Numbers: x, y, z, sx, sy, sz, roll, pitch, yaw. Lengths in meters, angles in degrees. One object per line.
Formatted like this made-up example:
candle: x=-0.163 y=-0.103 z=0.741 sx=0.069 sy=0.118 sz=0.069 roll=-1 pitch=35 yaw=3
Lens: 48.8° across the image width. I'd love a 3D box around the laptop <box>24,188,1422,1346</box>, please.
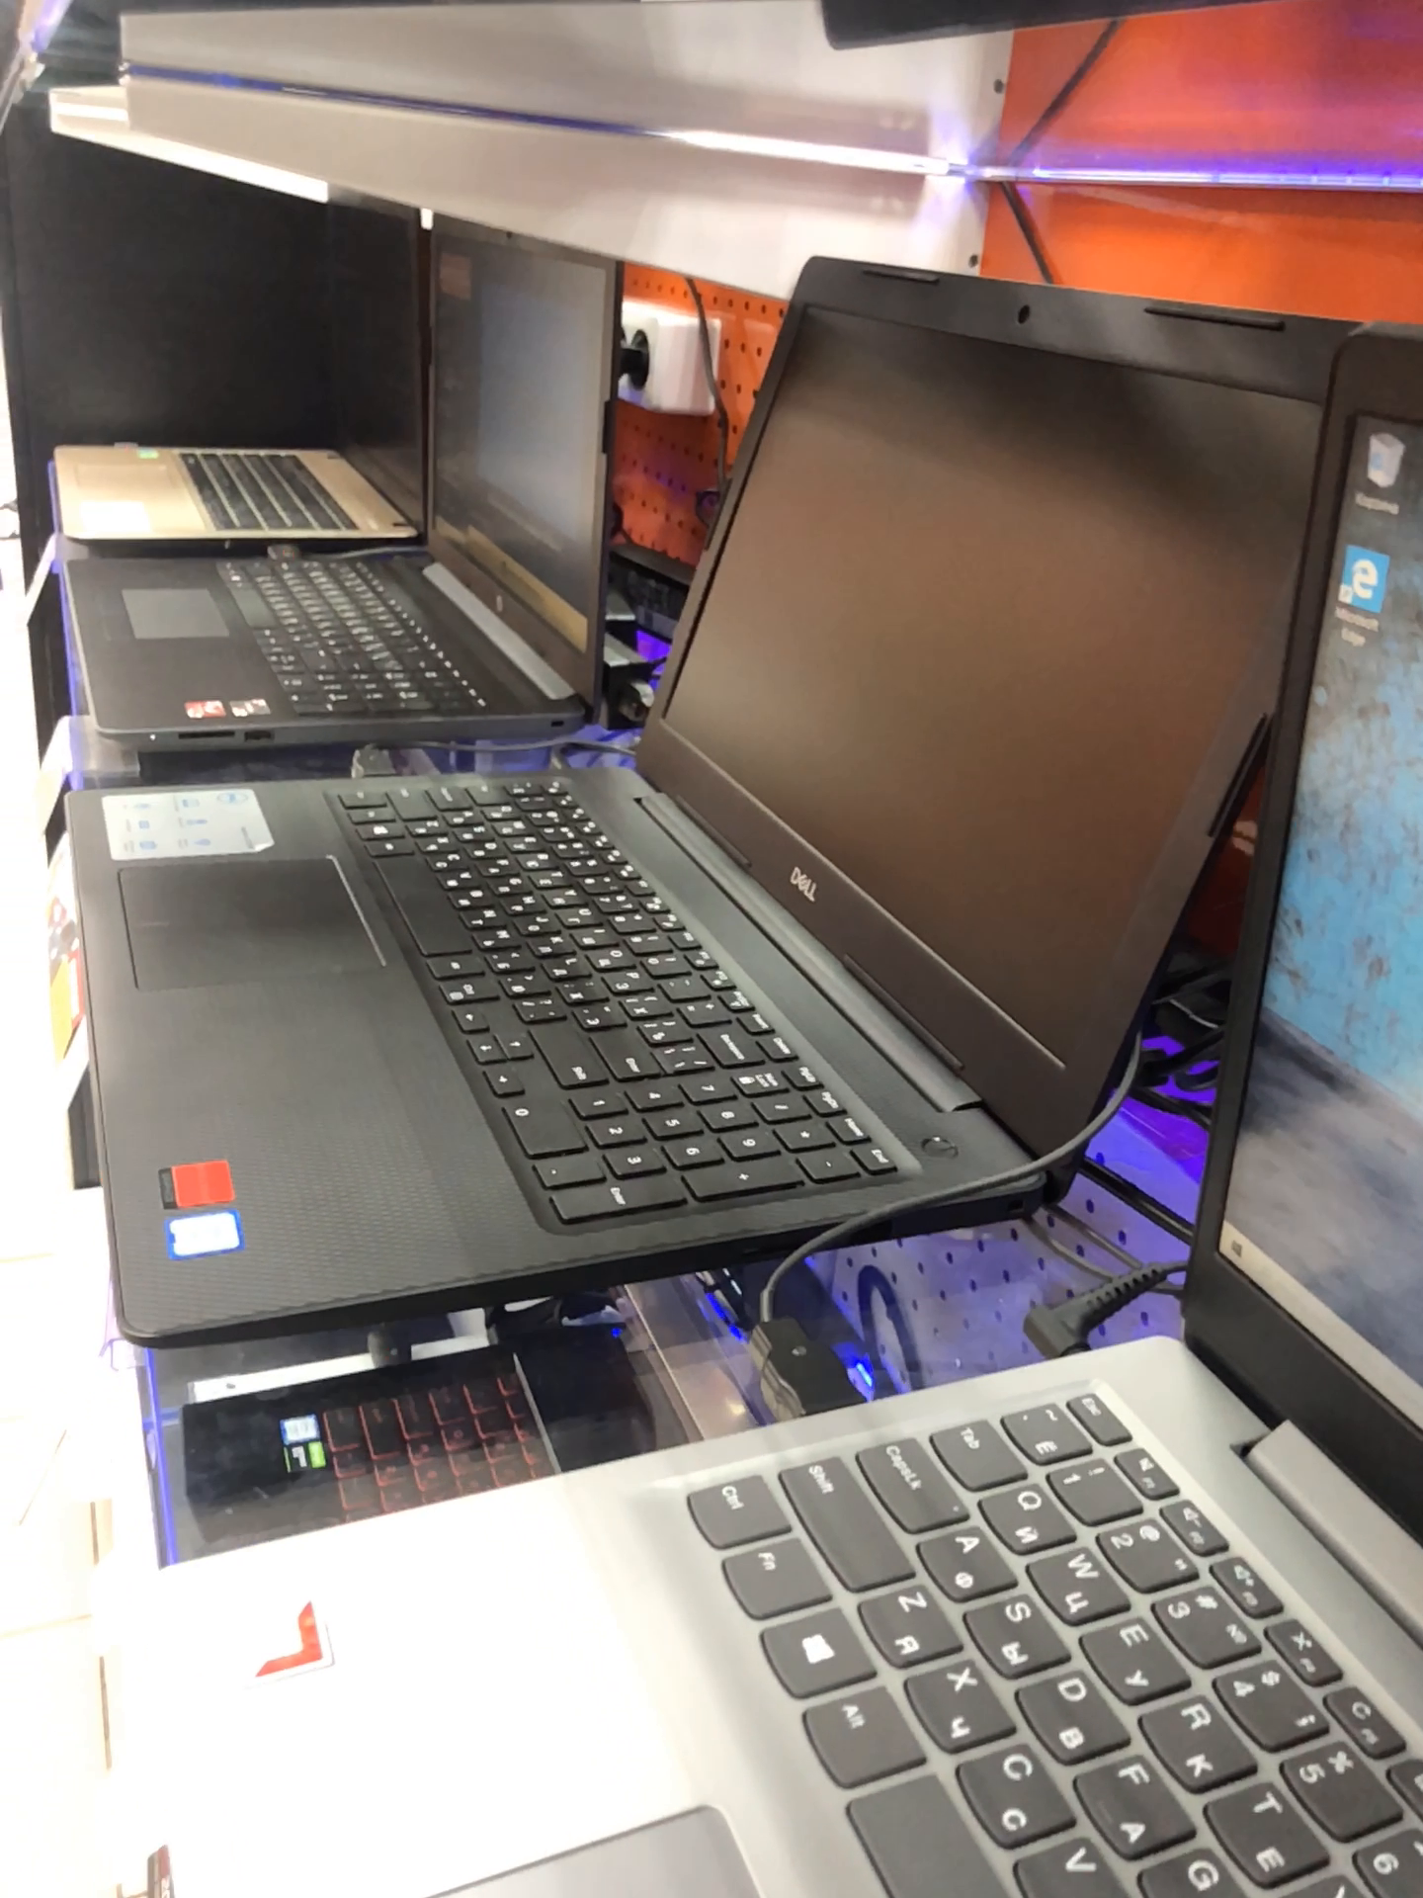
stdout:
laptop: x=-0.044 y=-0.107 z=0.522 sx=0.316 sy=0.233 sz=0.375 roll=-5 pitch=26 yaw=-22
